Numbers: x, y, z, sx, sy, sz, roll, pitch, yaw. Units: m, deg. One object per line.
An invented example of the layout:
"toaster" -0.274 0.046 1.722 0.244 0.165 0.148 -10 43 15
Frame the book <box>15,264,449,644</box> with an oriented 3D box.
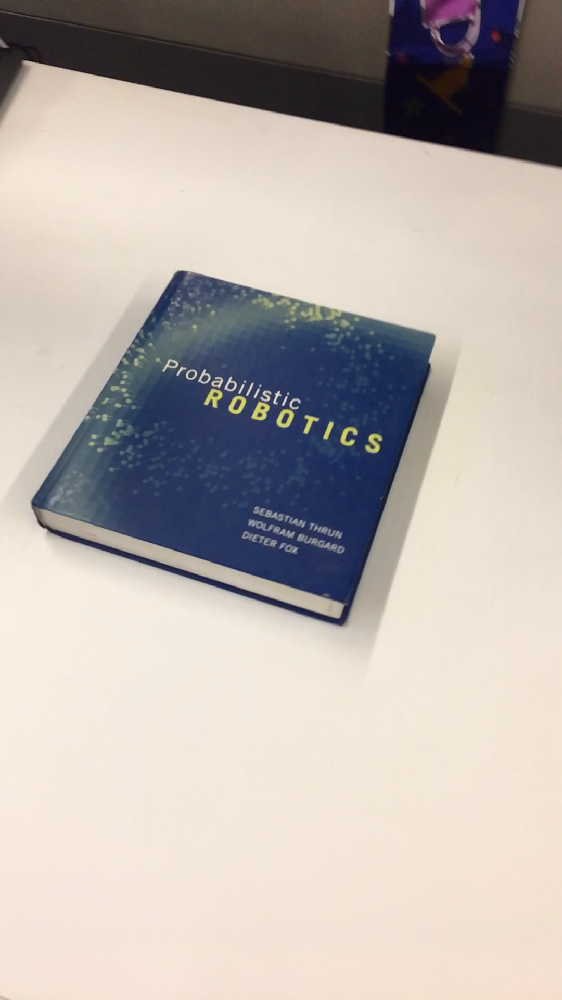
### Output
"book" -0.021 -0.047 0.568 0.220 0.030 0.240 16 58 9
